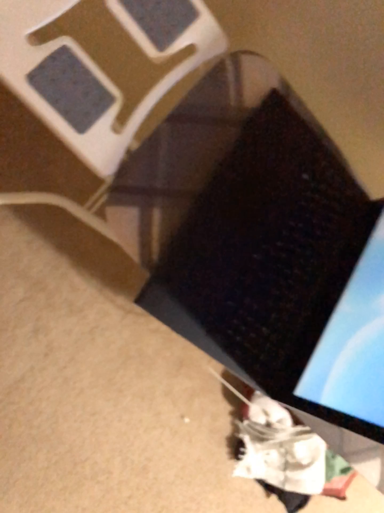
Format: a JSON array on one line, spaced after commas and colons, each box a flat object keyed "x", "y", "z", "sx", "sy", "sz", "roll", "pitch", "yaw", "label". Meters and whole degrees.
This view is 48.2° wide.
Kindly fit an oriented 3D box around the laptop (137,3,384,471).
[{"x": 0.168, "y": -0.019, "z": 0.500, "sx": 0.247, "sy": 0.231, "sz": 0.352, "roll": 39, "pitch": 72, "yaw": -23, "label": "laptop"}]
